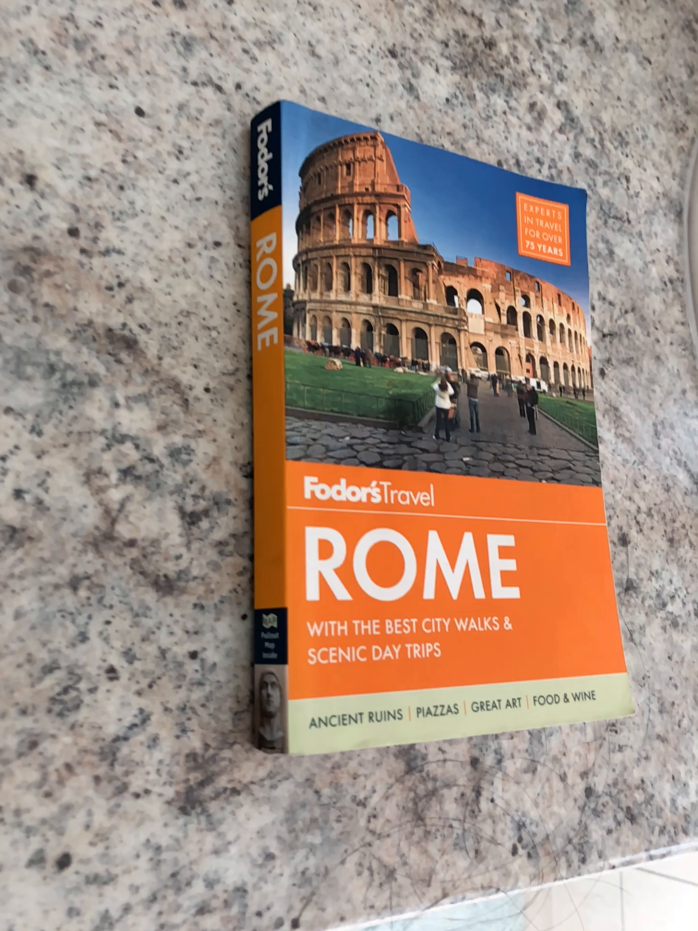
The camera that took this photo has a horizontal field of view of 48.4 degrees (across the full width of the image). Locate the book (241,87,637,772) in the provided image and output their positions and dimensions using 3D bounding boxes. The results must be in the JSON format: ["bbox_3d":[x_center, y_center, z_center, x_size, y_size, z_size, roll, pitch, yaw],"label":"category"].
[{"bbox_3d":[0.032,-0.012,0.271,0.139,0.023,0.207,5,77,-29],"label":"book"}]
